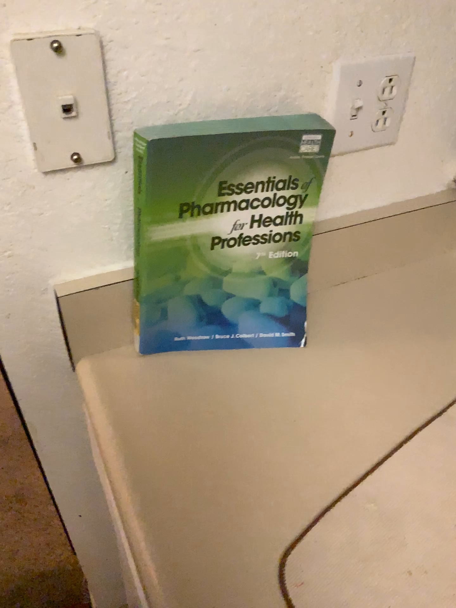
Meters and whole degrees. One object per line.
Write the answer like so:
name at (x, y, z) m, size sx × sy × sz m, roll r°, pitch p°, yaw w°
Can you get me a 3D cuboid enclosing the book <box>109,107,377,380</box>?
book at (0.006, -0.064, 0.572) m, size 0.240 × 0.270 × 0.090 m, roll -10°, pitch 41°, yaw -17°
